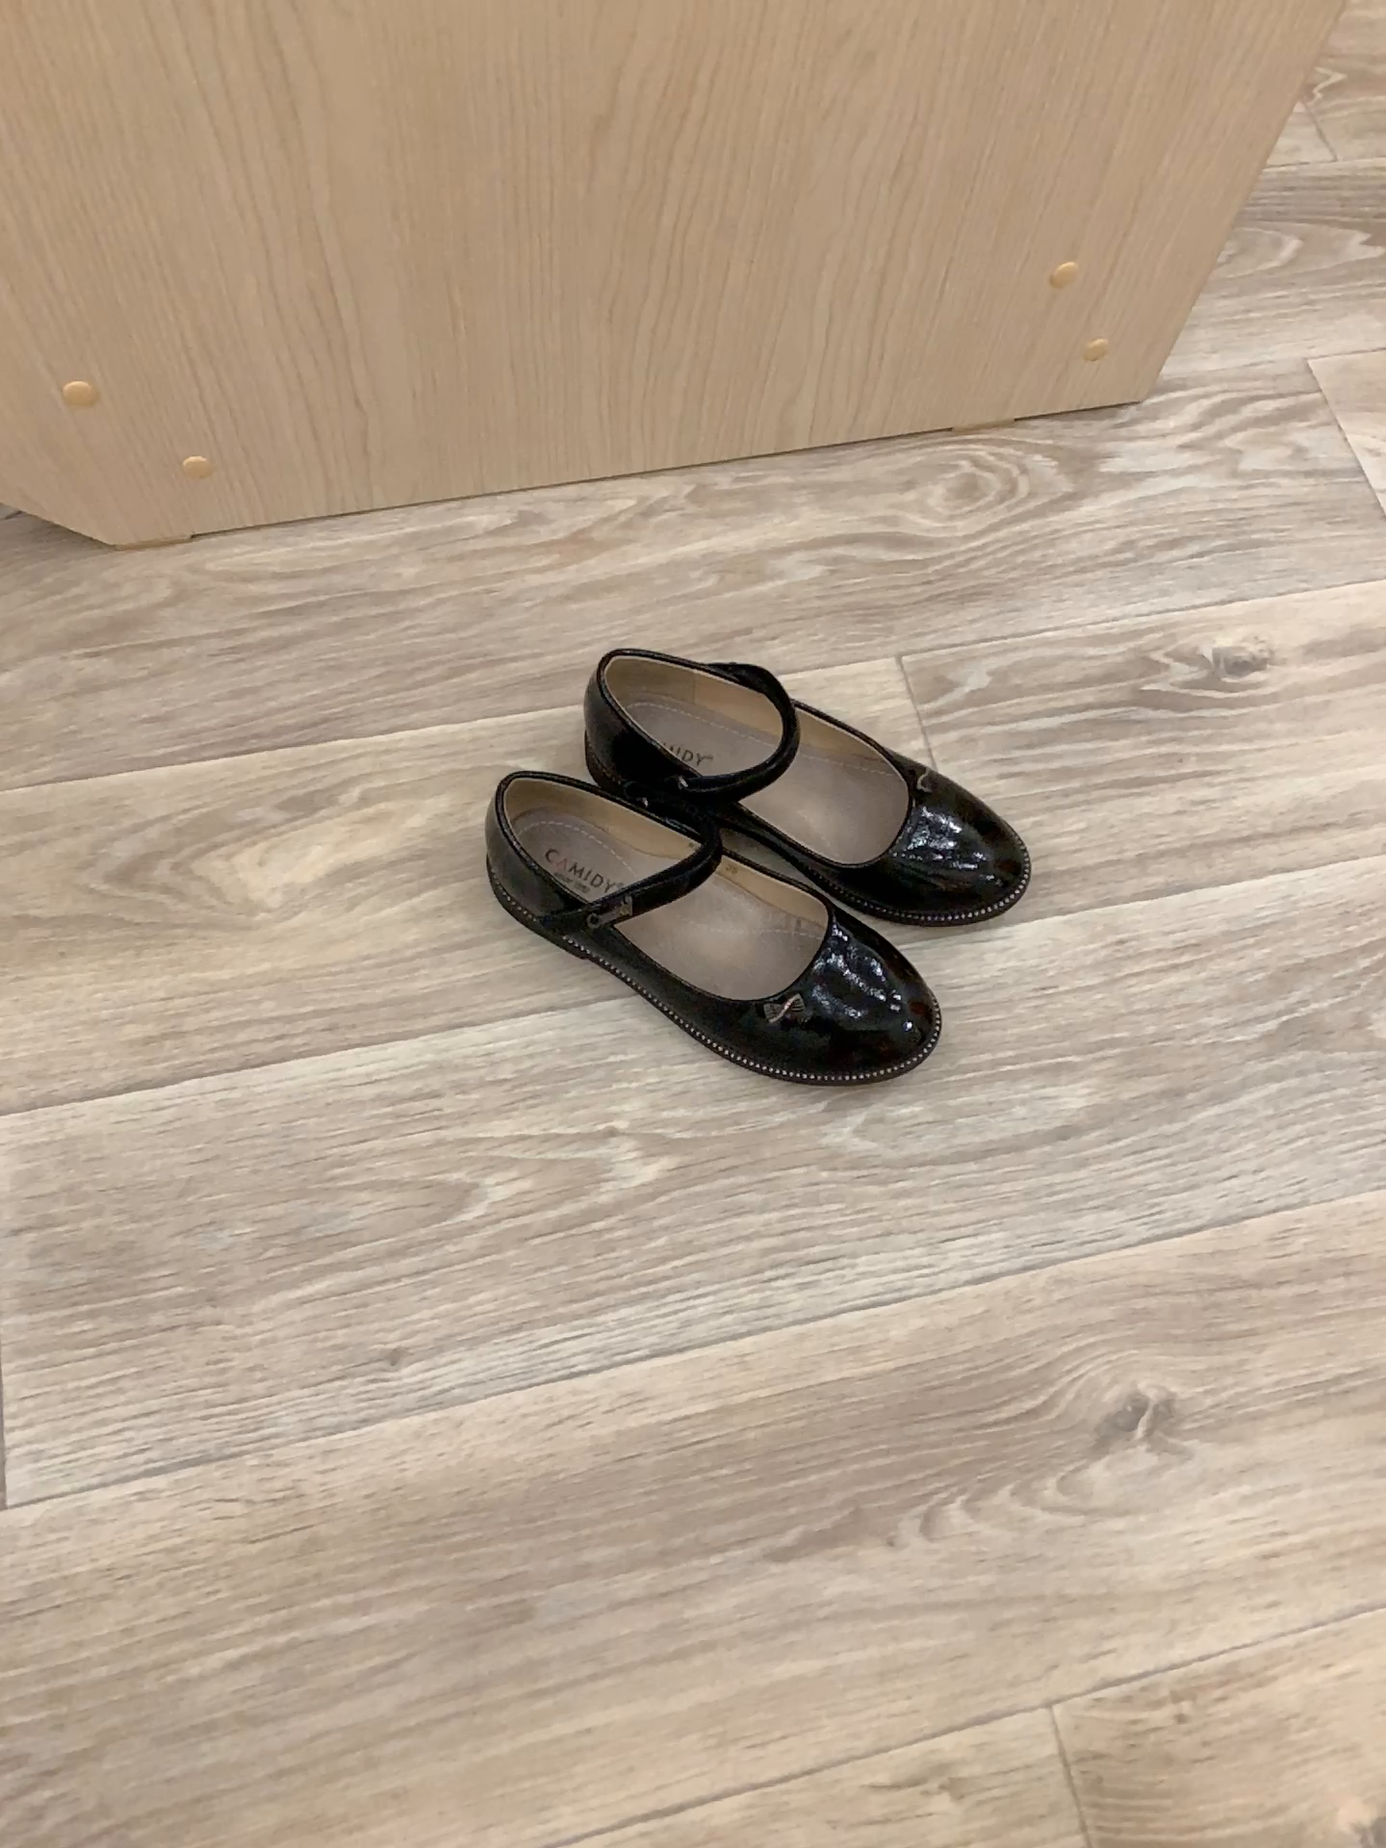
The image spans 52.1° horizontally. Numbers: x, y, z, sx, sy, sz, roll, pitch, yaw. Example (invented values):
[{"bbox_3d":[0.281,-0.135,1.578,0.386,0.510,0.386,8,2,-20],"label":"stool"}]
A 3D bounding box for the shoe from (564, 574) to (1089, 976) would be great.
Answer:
[{"bbox_3d":[0.064,-0.077,0.756,0.250,0.100,0.090,23,66,5],"label":"shoe"}]

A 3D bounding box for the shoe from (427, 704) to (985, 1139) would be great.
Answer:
[{"bbox_3d":[0.003,0.001,0.715,0.250,0.100,0.090,25,66,6],"label":"shoe"}]
